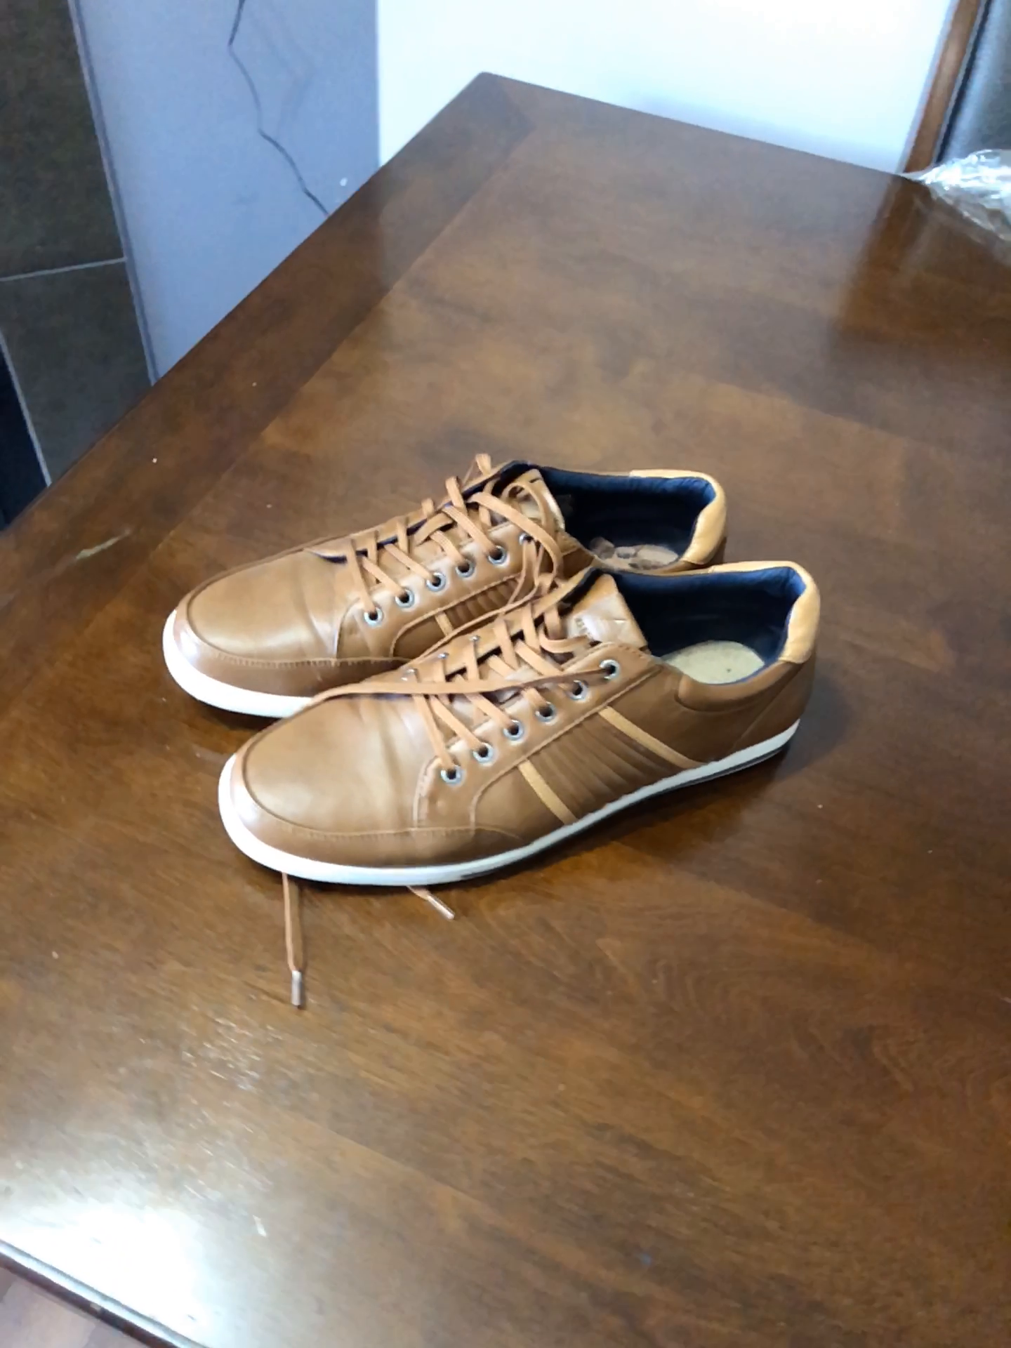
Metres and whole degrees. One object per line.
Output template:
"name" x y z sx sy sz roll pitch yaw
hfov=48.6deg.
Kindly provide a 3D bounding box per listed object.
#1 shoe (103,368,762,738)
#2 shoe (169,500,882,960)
"shoe" -0.036 -0.066 0.557 0.290 0.080 0.110 -12 53 -14
"shoe" 0.010 0.017 0.515 0.290 0.080 0.110 -16 54 -17
